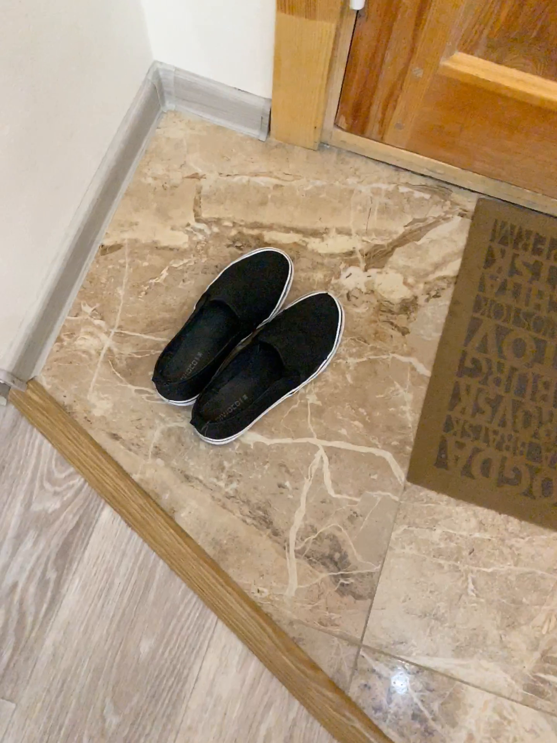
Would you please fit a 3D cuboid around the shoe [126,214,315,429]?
[{"bbox_3d":[-0.065,-0.062,0.695,0.090,0.060,0.250,34,74,7],"label":"shoe"}]

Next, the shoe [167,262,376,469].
[{"bbox_3d":[-0.005,-0.009,0.683,0.090,0.060,0.250,43,76,10],"label":"shoe"}]
